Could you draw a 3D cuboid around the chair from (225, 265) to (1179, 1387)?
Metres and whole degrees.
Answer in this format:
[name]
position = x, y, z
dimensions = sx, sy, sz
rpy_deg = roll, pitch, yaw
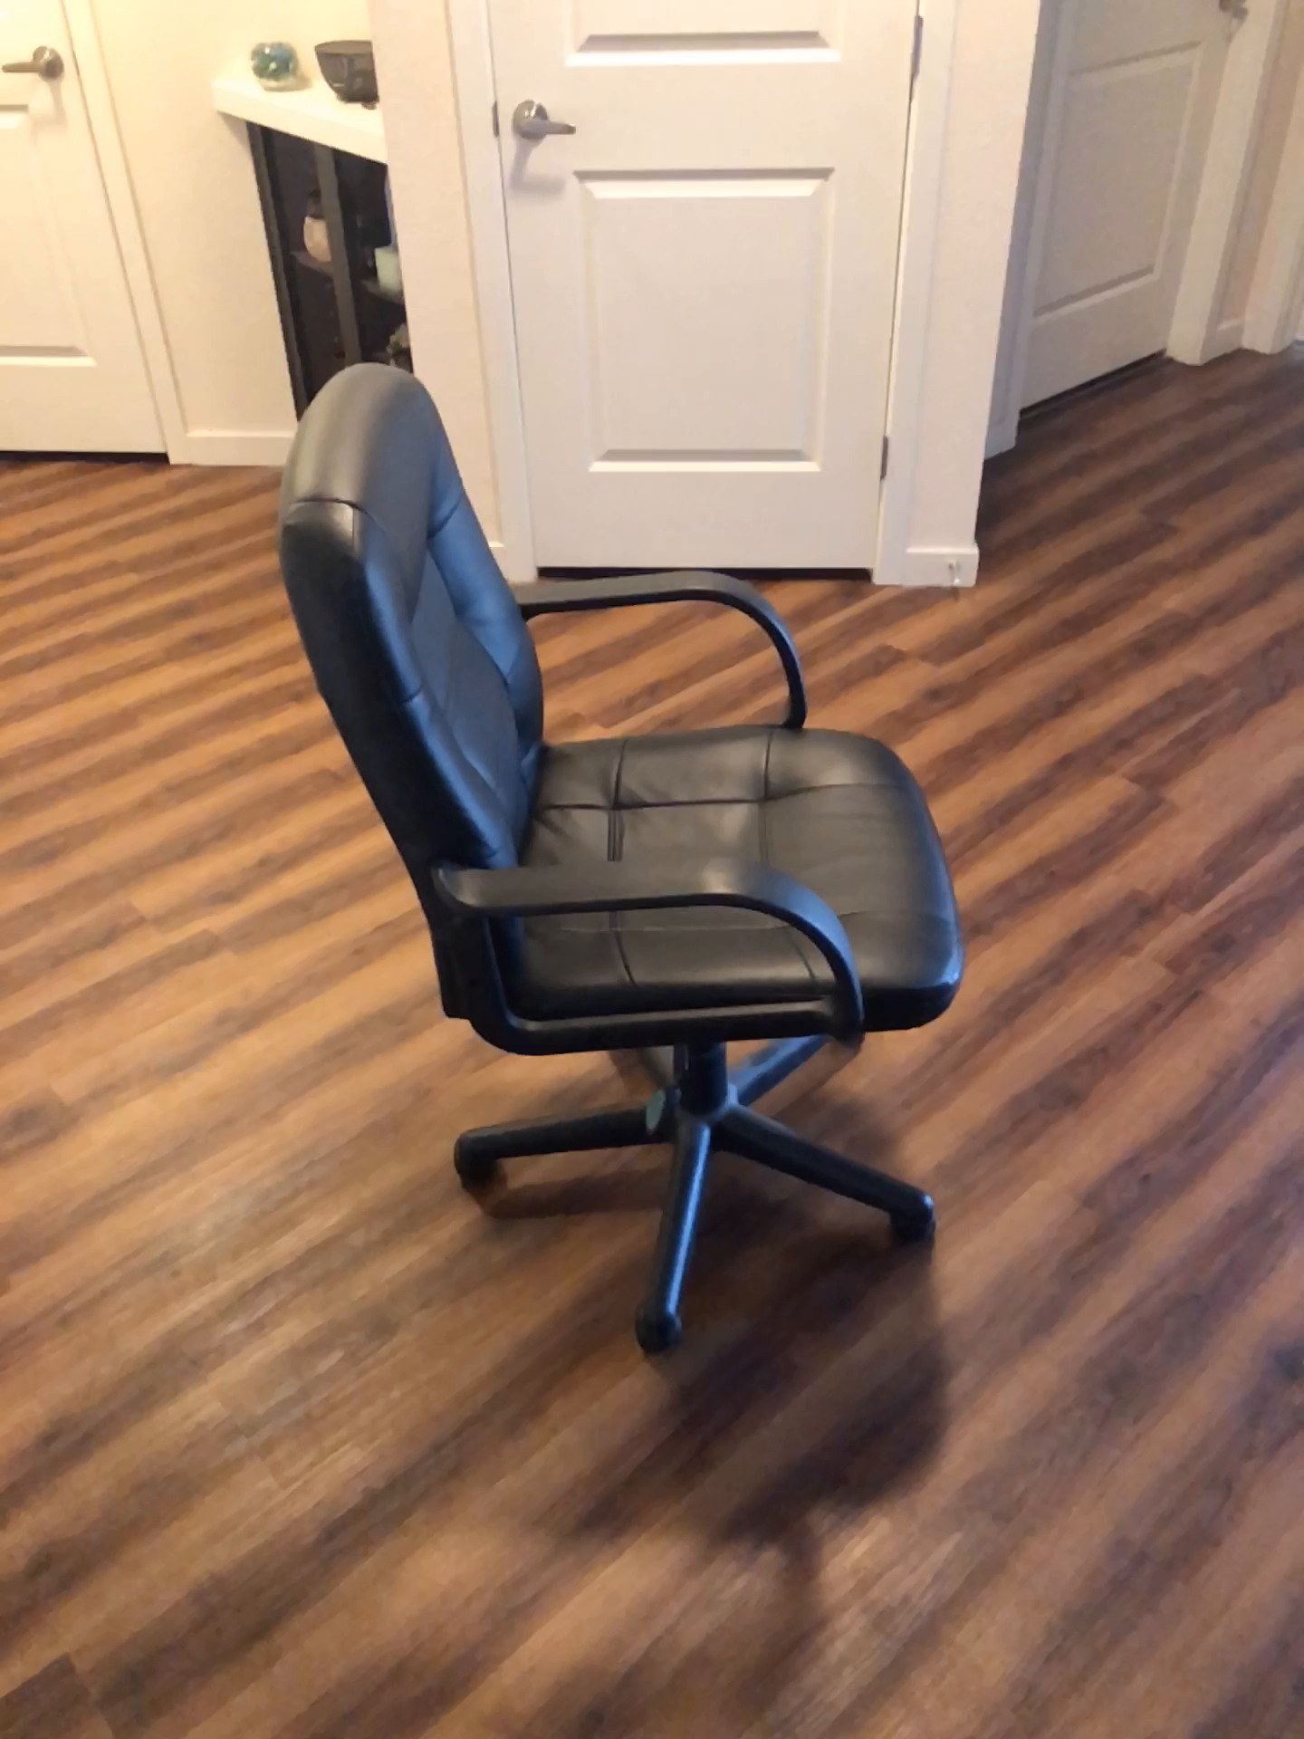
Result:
[chair]
position = 0.034, -0.031, 1.574
dimensions = 0.667, 1.012, 0.666
rpy_deg = -2, 38, -1
